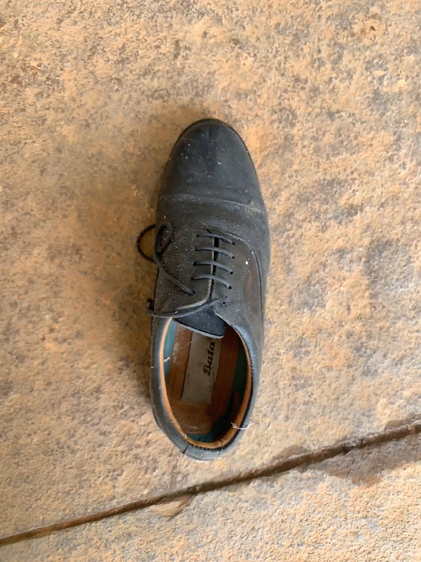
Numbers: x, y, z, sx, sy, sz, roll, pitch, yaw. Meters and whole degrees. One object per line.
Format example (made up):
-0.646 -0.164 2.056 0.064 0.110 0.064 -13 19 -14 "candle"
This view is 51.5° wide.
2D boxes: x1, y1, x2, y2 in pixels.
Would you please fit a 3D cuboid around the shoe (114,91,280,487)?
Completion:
-0.010 0.006 0.348 0.100 0.090 0.270 4 86 -4 "shoe"
